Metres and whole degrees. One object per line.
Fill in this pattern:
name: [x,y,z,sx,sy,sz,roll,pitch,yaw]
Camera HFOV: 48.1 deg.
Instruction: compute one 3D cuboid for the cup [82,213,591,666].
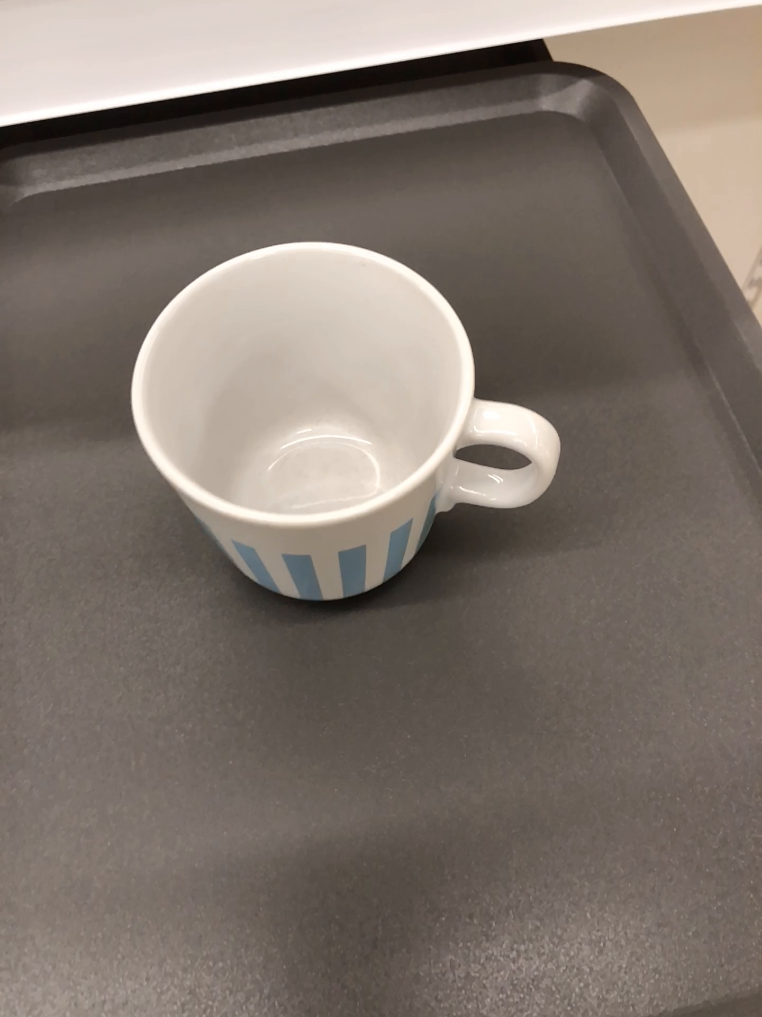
cup: [-0.005,-0.019,0.240,0.110,0.070,0.090,8,60,5]
